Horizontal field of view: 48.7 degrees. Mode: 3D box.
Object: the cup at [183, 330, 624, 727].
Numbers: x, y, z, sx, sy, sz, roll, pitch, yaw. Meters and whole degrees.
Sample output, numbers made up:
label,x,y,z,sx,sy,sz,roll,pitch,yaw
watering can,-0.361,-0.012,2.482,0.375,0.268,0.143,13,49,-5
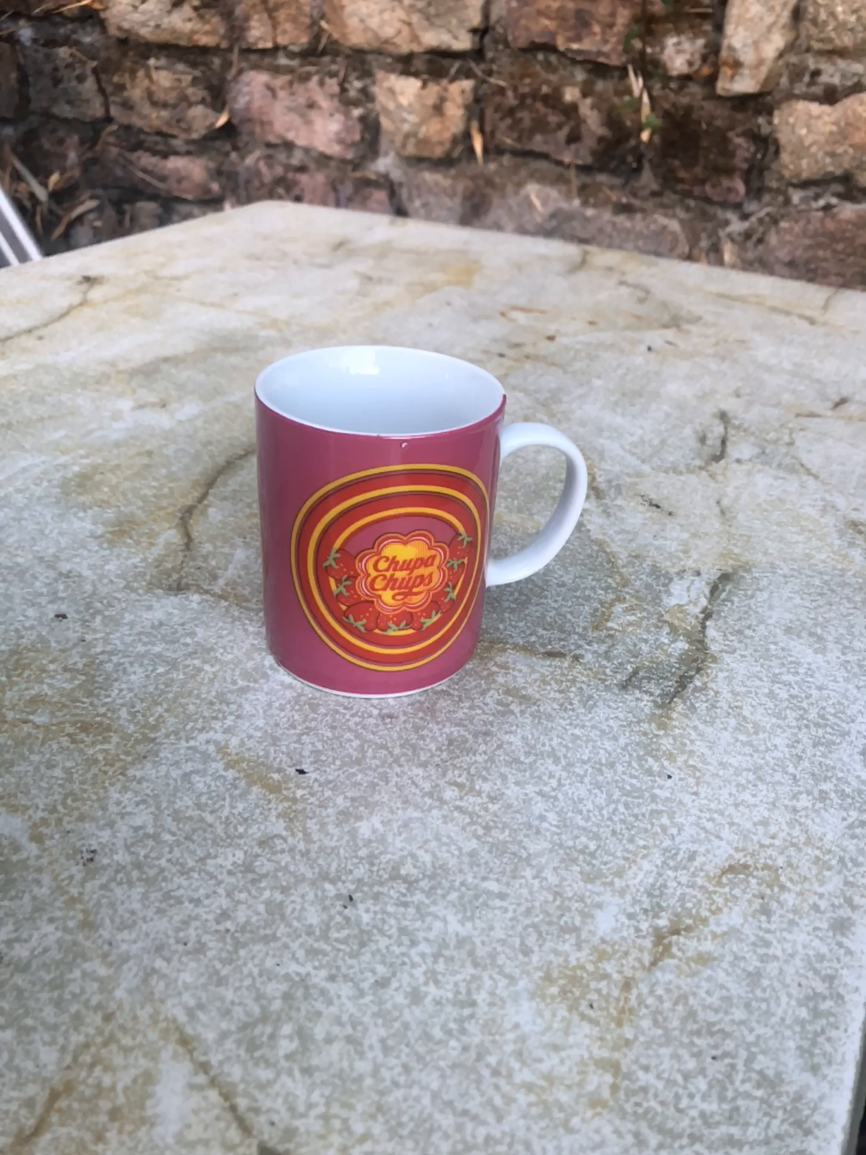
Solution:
label,x,y,z,sx,sy,sz,roll,pitch,yaw
cup,-0.013,-0.021,0.311,0.116,0.089,0.077,-9,33,-16
